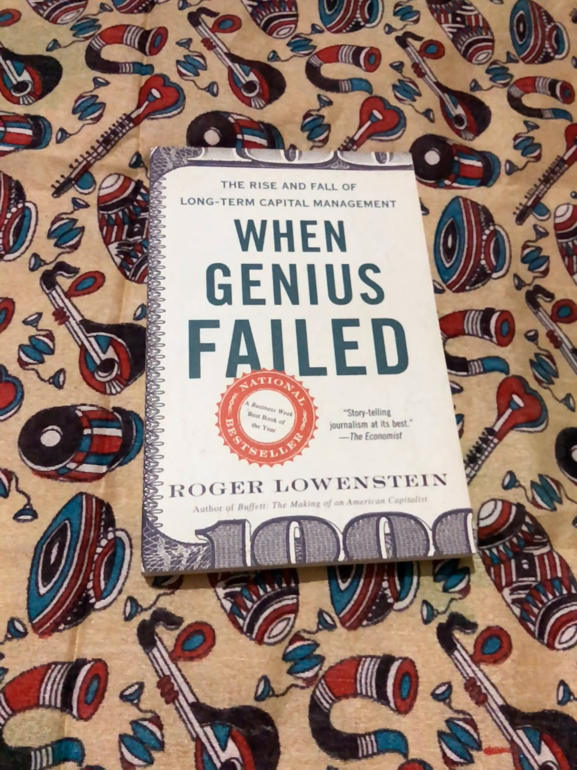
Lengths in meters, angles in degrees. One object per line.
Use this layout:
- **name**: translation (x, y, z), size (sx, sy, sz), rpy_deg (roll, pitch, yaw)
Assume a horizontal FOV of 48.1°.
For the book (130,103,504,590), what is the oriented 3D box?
- **book**: translation (0.004, -0.028, 0.292), size (0.140, 0.030, 0.220), rpy_deg (-1, 68, -9)
